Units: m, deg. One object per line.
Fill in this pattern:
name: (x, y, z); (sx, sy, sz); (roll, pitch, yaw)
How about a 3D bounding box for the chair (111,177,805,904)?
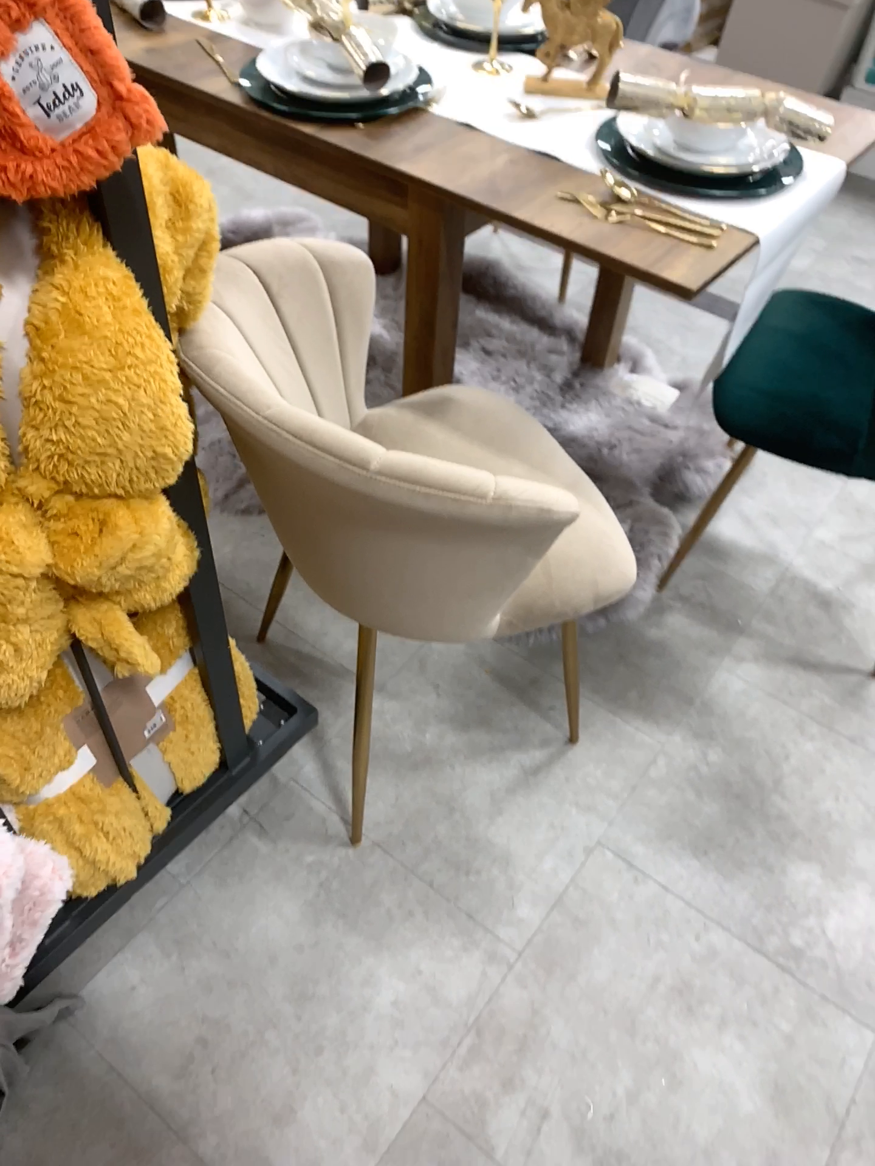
chair: (-0.022, -0.066, 1.228); (0.574, 0.666, 0.565); (-19, 51, -20)
